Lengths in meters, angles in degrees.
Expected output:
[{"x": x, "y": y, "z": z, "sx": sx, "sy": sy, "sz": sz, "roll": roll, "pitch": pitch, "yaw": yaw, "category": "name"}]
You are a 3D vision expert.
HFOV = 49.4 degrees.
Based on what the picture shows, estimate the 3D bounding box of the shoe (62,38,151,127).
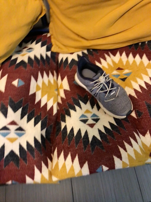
[{"x": 0.072, "y": -0.052, "z": 0.417, "sx": 0.094, "sy": 0.074, "sz": 0.212, "roll": -38, "pitch": 68, "yaw": -15, "category": "shoe"}]
